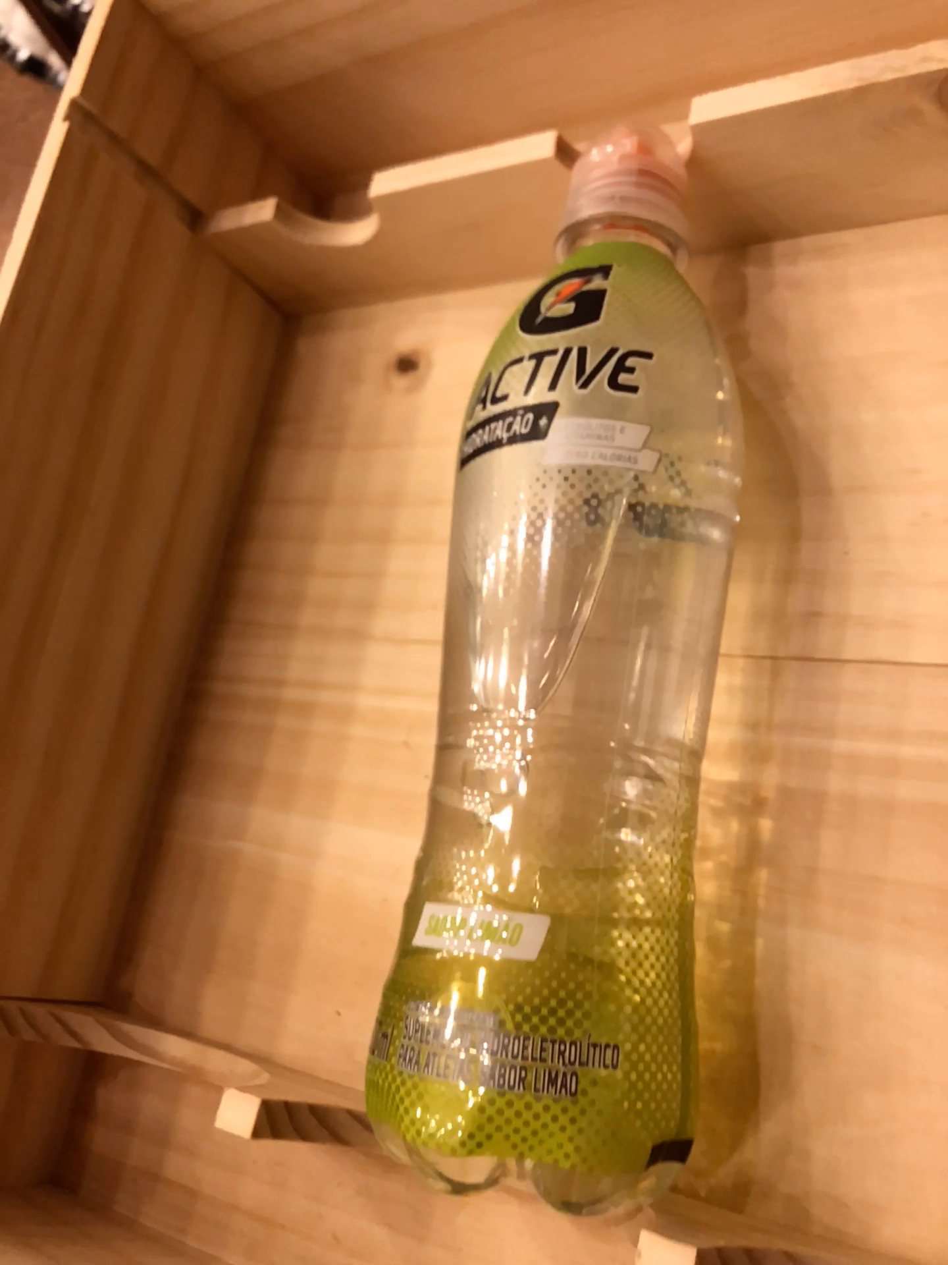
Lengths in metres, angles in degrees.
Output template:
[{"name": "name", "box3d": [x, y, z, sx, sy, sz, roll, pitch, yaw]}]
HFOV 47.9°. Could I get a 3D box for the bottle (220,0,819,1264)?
[{"name": "bottle", "box3d": [0.025, -0.020, 0.236, 0.070, 0.070, 0.270, -1, 69, 30]}]
